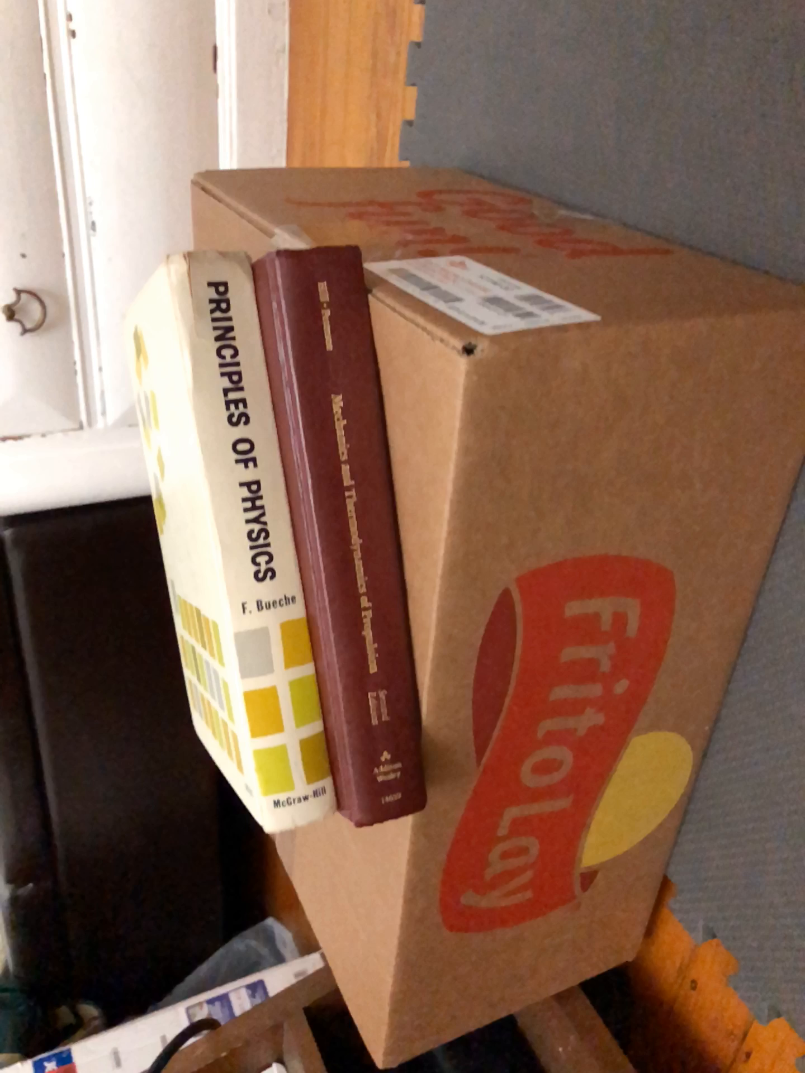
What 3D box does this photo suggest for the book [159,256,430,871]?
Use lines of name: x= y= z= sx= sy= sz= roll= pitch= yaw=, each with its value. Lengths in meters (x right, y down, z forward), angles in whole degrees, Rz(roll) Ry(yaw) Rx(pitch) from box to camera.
book: x=-0.061 y=0.006 z=0.444 sx=0.181 sy=0.040 sz=0.250 roll=14 pitch=114 yaw=63

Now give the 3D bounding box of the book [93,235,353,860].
book: x=-0.097 y=0.002 z=0.441 sx=0.181 sy=0.040 sz=0.250 roll=8 pitch=109 yaw=64
